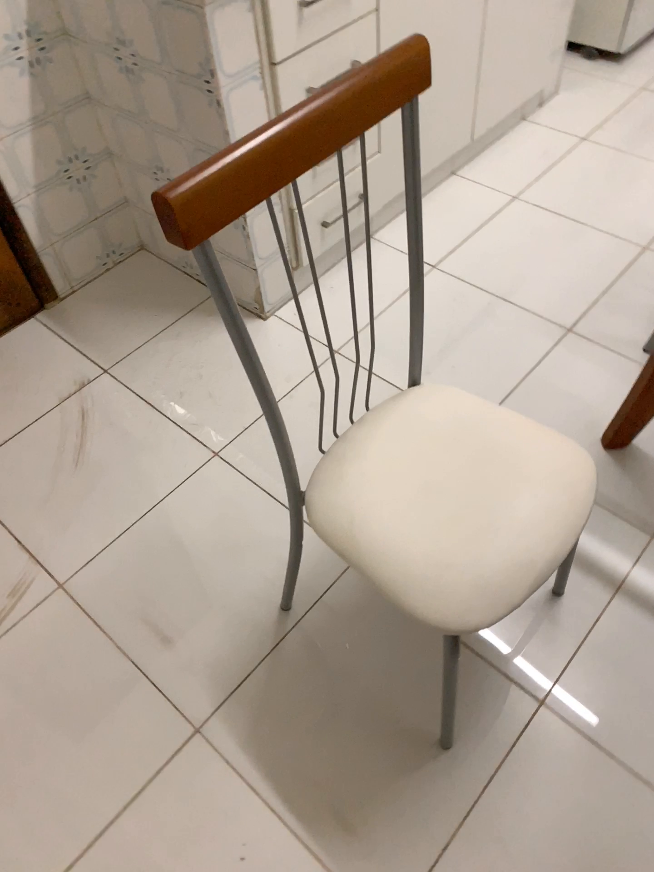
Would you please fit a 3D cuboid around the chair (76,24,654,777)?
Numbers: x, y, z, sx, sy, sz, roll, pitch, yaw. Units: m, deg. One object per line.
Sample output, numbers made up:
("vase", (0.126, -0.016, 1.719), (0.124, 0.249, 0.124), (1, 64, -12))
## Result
("chair", (0.137, 0.022, 0.978), (0.511, 0.886, 0.481), (34, 62, 27))
